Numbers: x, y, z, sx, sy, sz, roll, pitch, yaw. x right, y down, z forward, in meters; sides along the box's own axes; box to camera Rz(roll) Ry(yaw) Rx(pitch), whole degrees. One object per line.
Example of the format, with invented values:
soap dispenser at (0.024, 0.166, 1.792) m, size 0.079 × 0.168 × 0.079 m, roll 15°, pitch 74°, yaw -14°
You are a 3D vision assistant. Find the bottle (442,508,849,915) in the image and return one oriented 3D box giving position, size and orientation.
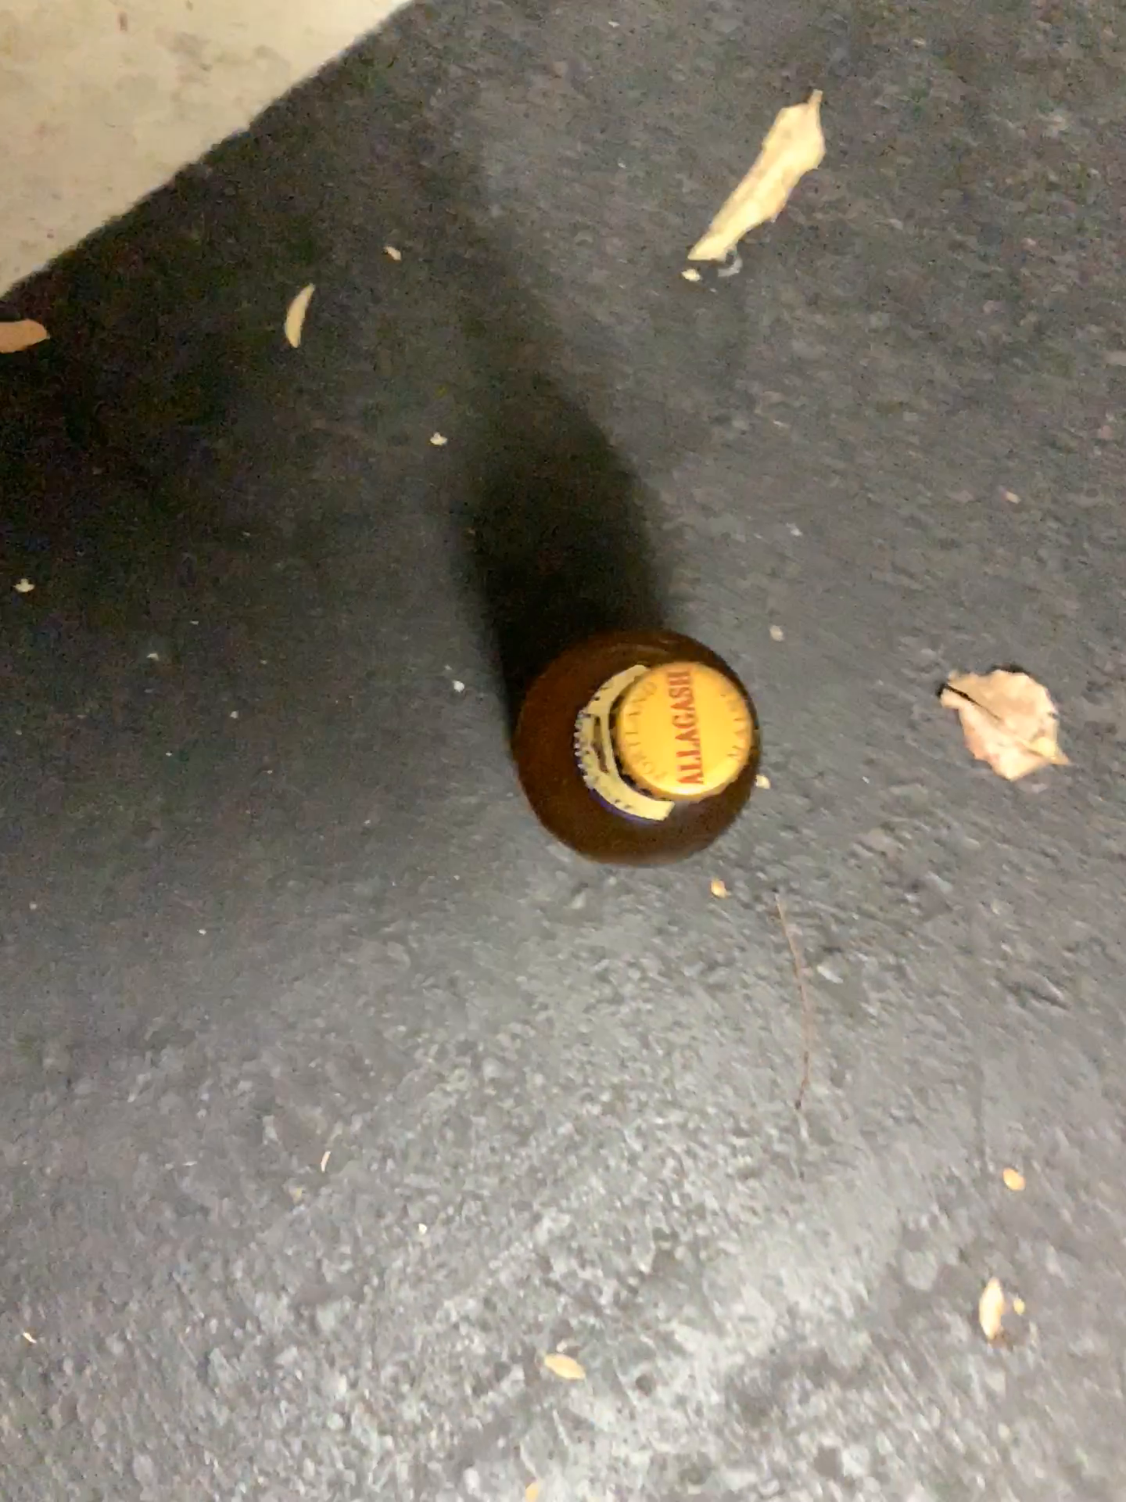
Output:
bottle at (0.016, -0.005, 0.345) m, size 0.070 × 0.190 × 0.070 m, roll 0°, pitch 88°, yaw 0°
